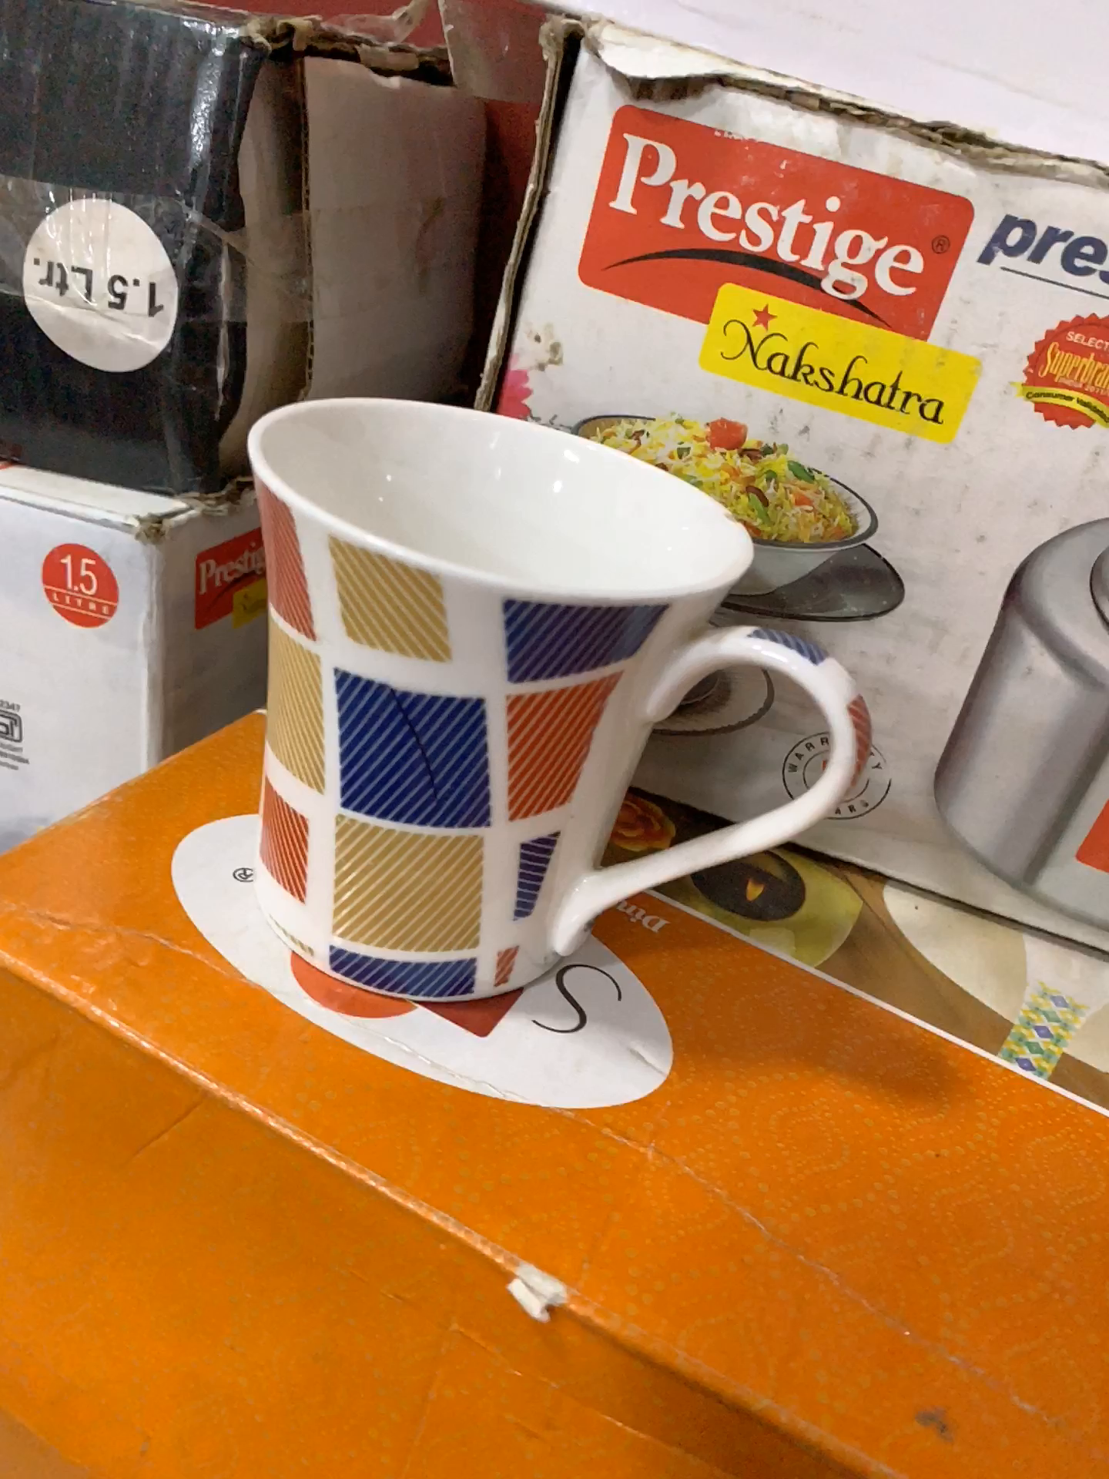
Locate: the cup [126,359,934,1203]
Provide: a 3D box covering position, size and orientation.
[{"bbox_3d":[-0.004,0.001,0.192,0.100,0.089,0.070,19,30,7],"label":"cup"}]
